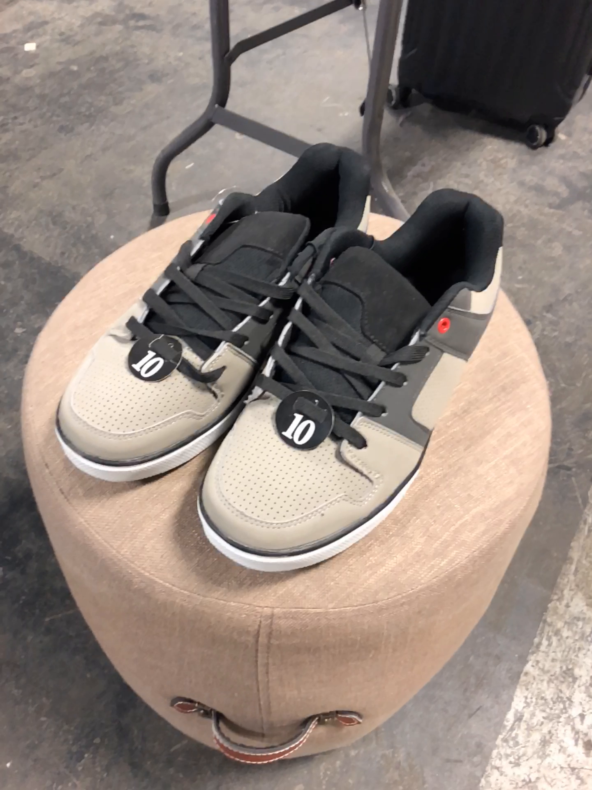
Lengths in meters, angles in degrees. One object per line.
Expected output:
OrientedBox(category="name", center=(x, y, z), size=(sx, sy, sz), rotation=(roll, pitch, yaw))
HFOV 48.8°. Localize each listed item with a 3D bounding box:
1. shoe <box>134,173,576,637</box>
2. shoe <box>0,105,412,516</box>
OrientedBox(category="shoe", center=(0.050, -0.015, 0.397), size=(0.110, 0.089, 0.281), rotation=(31, 56, 21))
OrientedBox(category="shoe", center=(-0.054, -0.074, 0.428), size=(0.120, 0.089, 0.281), rotation=(31, 56, 21))
